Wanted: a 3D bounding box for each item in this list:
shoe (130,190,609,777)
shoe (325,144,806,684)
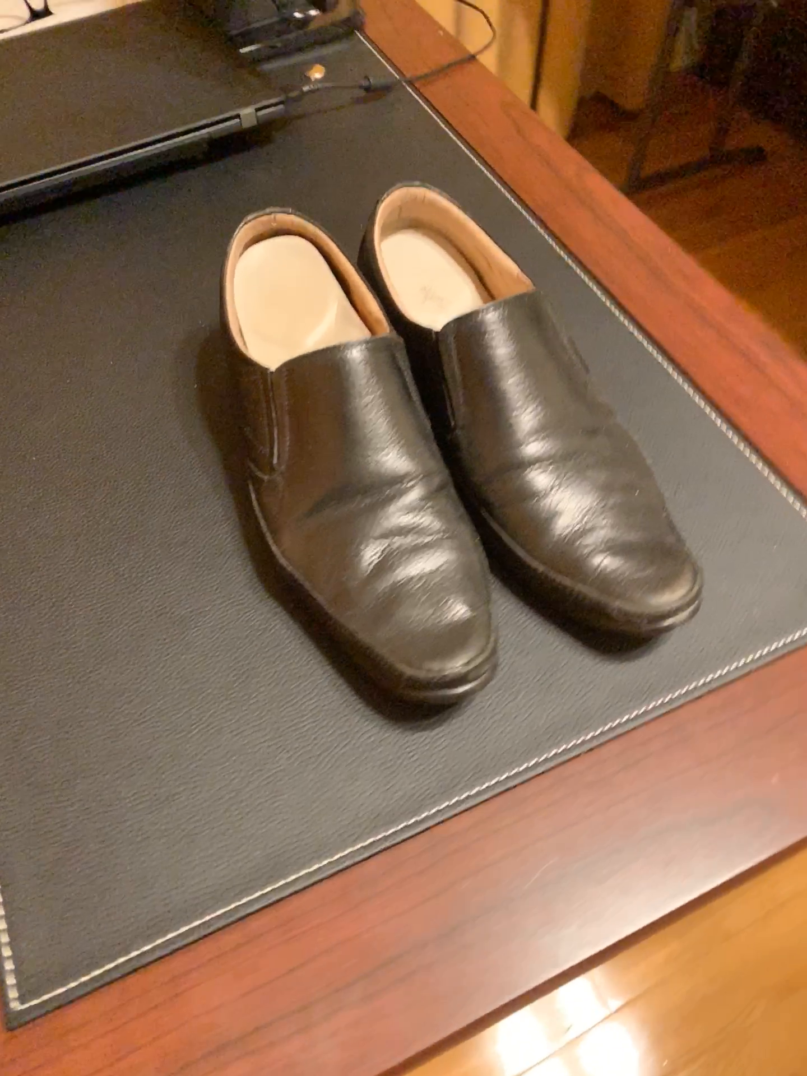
[{"bbox_3d":[-0.033,-0.047,0.405,0.110,0.077,0.286,-21,57,-14],"label":"shoe"},{"bbox_3d":[0.065,-0.082,0.423,0.106,0.077,0.286,-21,57,-14],"label":"shoe"}]
